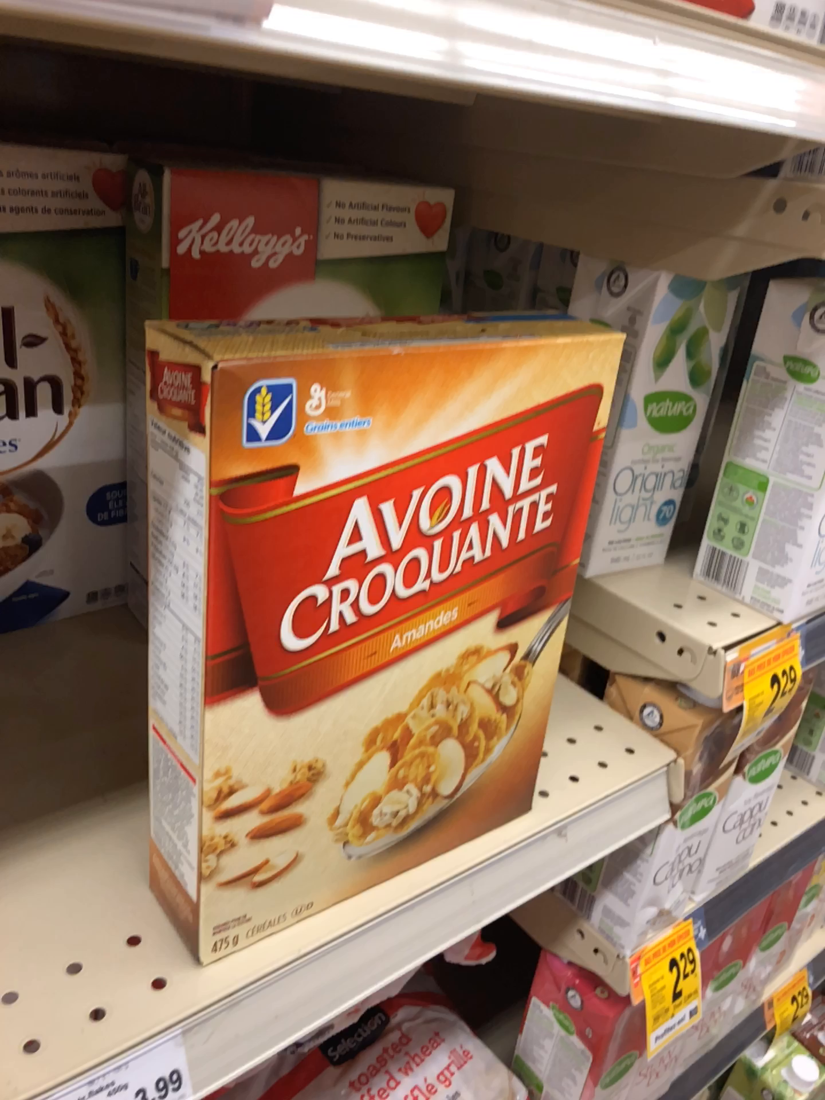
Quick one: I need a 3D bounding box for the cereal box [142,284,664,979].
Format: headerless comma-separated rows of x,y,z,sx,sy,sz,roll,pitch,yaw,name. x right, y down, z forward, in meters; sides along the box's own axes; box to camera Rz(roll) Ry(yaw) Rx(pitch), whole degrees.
-0.009,0.027,0.400,0.201,0.268,0.060,-12,32,-36,cereal box
